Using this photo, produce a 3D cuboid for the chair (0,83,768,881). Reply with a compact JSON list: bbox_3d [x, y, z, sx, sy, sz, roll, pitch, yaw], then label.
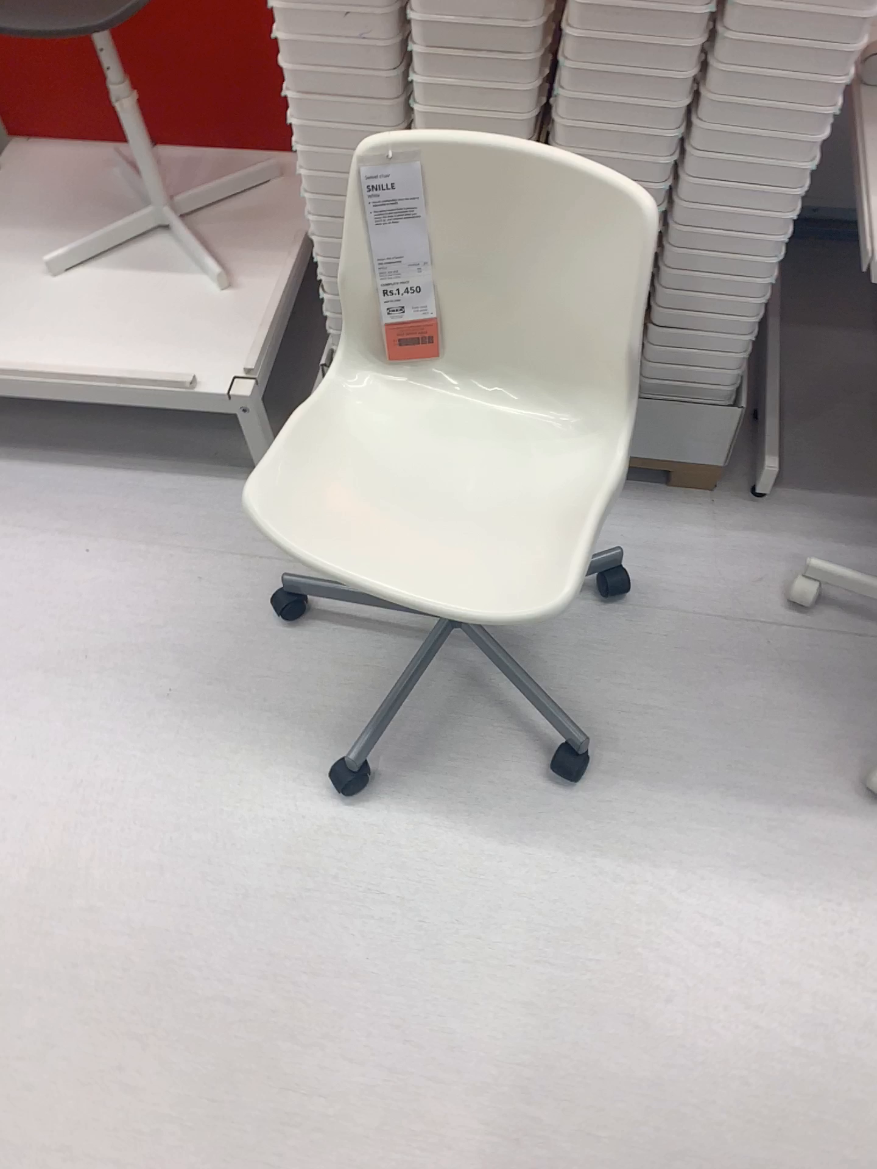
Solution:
[{"bbox_3d":[-0.018,-0.121,1.222,0.641,0.688,0.681,15,59,14],"label":"chair"}]
